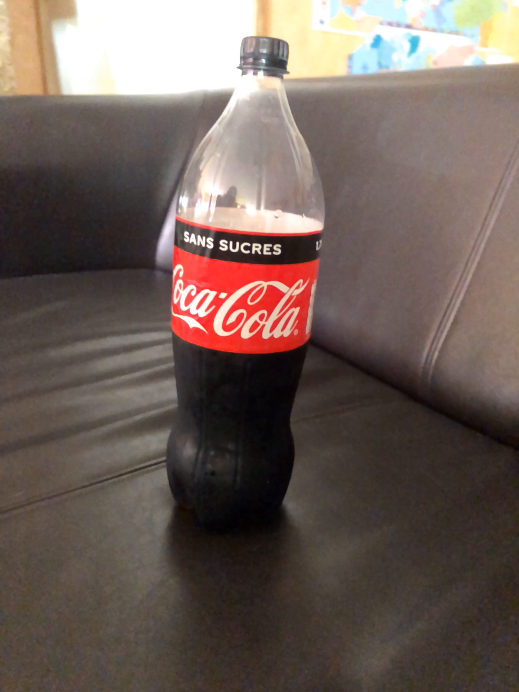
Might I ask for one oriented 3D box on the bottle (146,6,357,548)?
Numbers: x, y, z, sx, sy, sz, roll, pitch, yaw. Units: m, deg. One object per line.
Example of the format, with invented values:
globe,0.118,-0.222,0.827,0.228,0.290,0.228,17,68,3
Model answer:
bottle,-0.008,-0.036,0.388,0.100,0.318,0.101,3,21,-1
